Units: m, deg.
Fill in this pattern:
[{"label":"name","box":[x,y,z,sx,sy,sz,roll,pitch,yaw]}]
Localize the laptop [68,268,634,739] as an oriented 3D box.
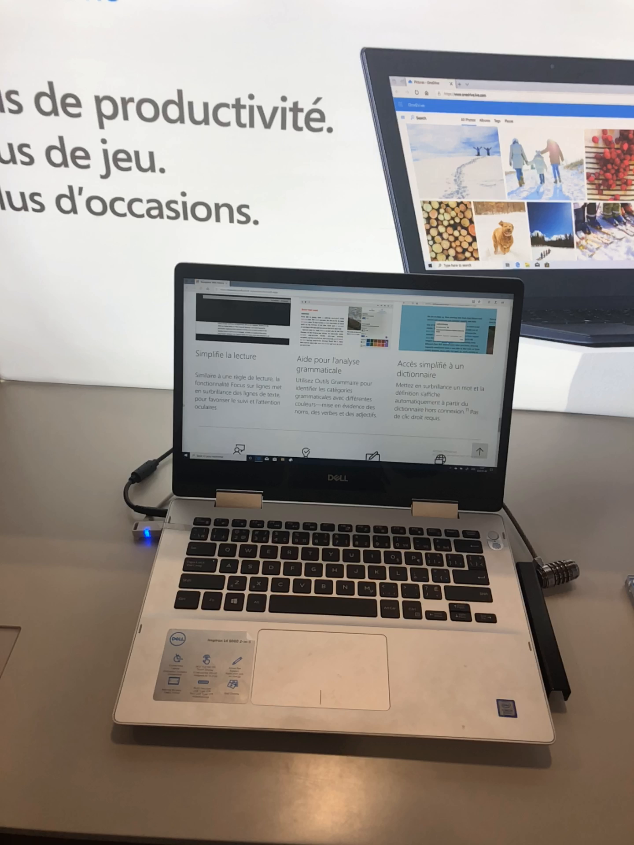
[{"label":"laptop","box":[0.020,0.043,0.579,0.316,0.193,0.338,3,39,0]}]
